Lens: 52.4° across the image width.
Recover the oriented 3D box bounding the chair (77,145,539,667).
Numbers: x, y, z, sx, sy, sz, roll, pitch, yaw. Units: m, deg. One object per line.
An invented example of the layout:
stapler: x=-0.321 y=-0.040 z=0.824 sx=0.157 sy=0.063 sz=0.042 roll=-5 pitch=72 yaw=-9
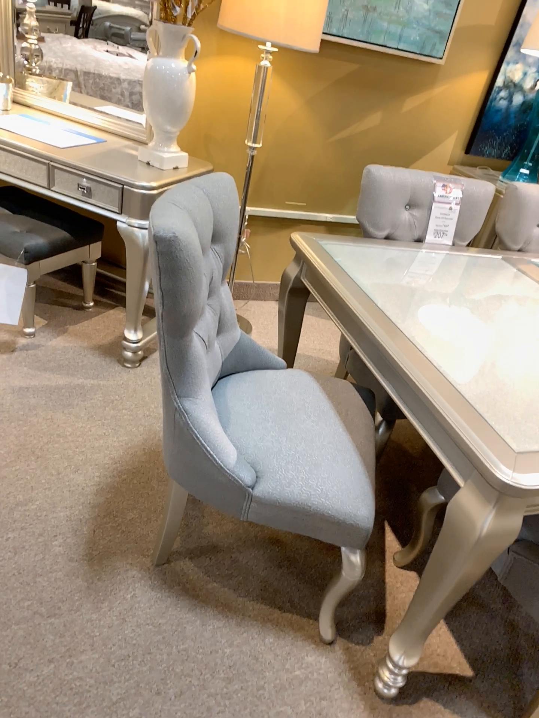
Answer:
chair: x=0.012 y=0.100 z=1.282 sx=0.680 sy=0.915 sz=0.583 roll=14 pitch=31 yaw=1
